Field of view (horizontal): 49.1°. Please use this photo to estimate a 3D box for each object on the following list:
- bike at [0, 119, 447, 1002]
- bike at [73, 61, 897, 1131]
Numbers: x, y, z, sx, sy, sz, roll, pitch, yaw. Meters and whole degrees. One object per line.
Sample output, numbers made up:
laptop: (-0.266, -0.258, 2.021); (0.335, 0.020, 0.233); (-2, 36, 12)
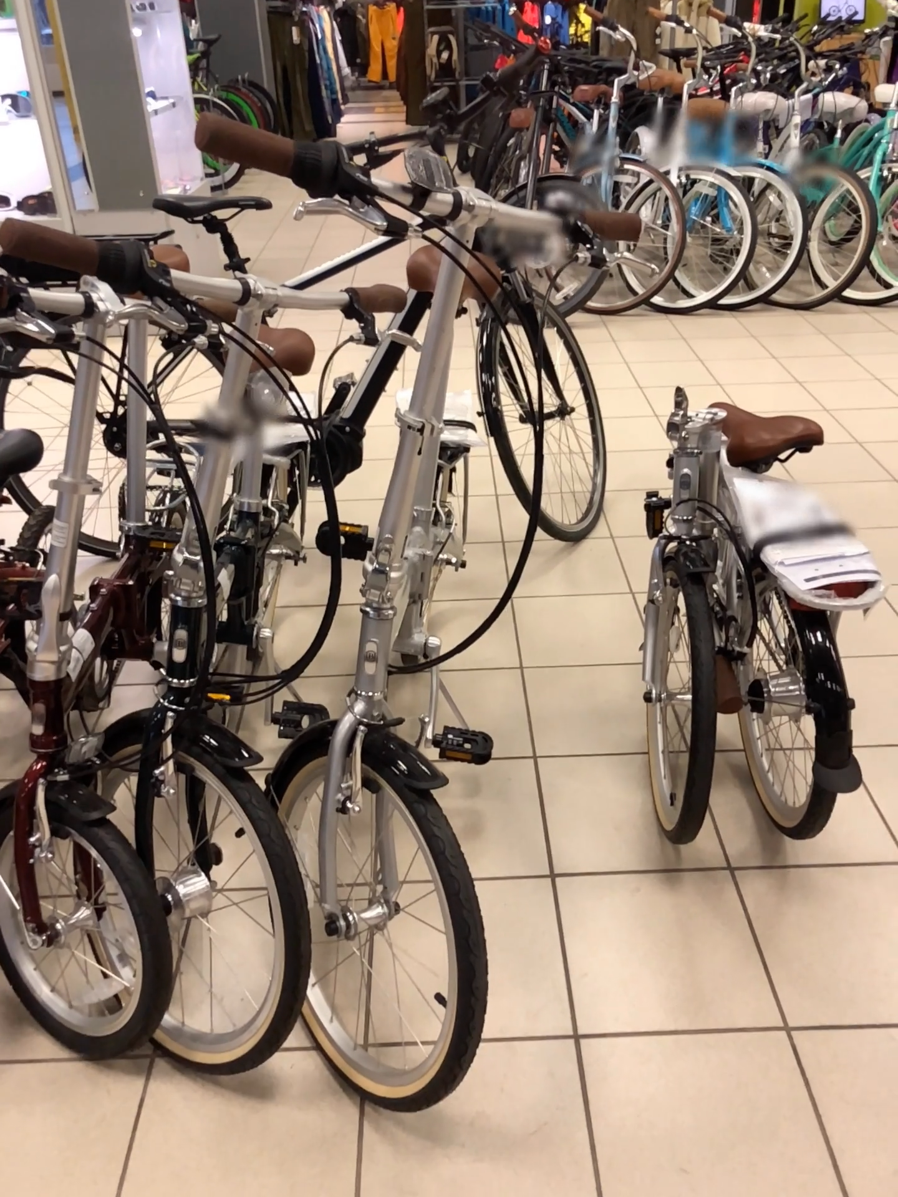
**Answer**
bike: (-0.325, -0.186, 1.717); (0.556, 1.036, 1.146); (-4, 31, -3)
bike: (0.031, -0.175, 1.538); (0.552, 1.153, 1.366); (-2, 29, 0)
